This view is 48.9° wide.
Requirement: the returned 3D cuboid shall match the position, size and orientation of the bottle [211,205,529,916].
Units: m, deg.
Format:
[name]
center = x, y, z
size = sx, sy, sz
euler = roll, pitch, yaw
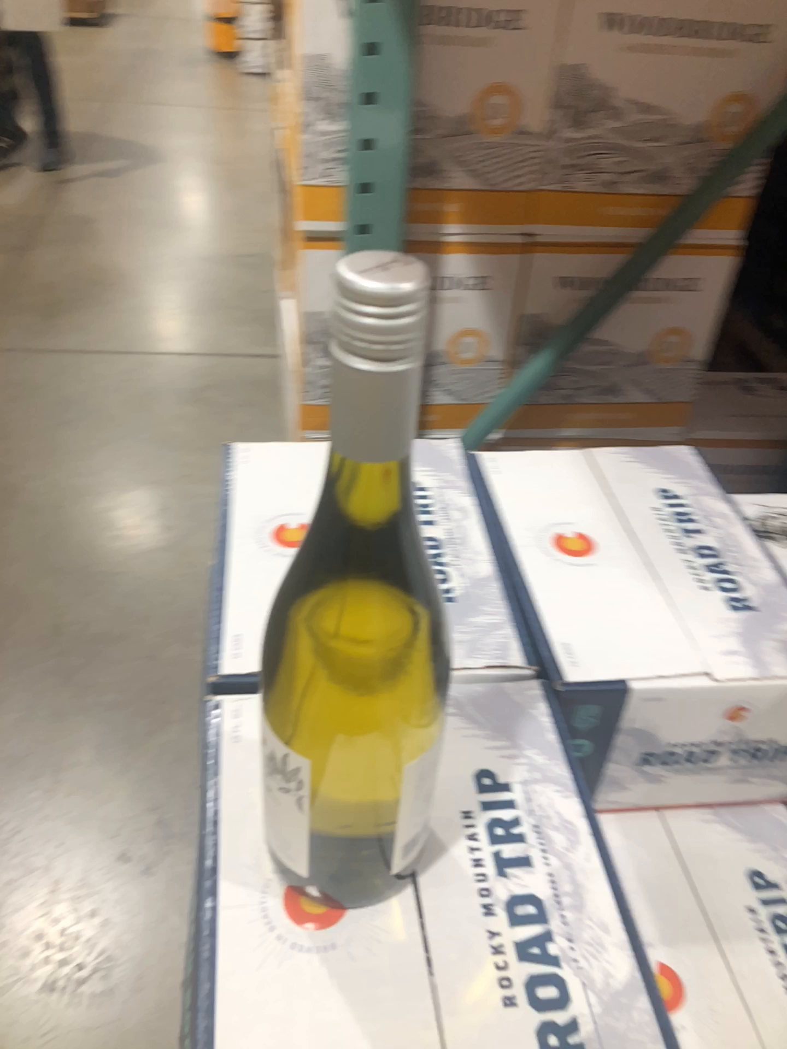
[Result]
[bottle]
center = -0.013, 0.034, 0.347
size = 0.083, 0.284, 0.090
euler = 3, 37, -2
